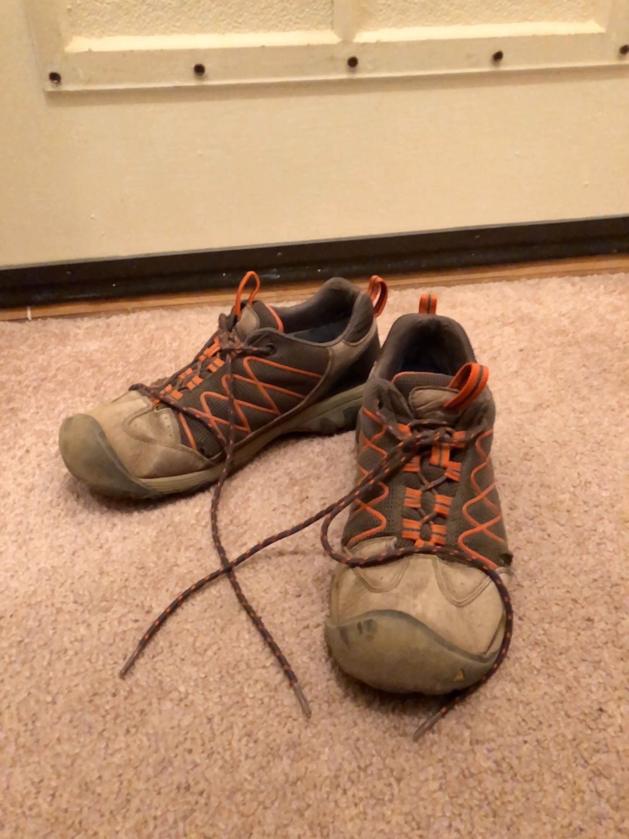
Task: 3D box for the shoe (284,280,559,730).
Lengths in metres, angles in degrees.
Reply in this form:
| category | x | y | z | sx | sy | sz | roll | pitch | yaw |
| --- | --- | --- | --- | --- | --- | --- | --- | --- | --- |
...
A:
| category | x | y | z | sx | sy | sz | roll | pitch | yaw |
| --- | --- | --- | --- | --- | --- | --- | --- | --- | --- |
| shoe | 0.069 | 0.030 | 0.451 | 0.120 | 0.129 | 0.272 | 5 | 36 | 8 |

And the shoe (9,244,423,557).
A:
| category | x | y | z | sx | sy | sz | roll | pitch | yaw |
| --- | --- | --- | --- | --- | --- | --- | --- | --- | --- |
| shoe | -0.068 | -0.032 | 0.579 | 0.301 | 0.129 | 0.120 | -22 | 41 | -27 |
